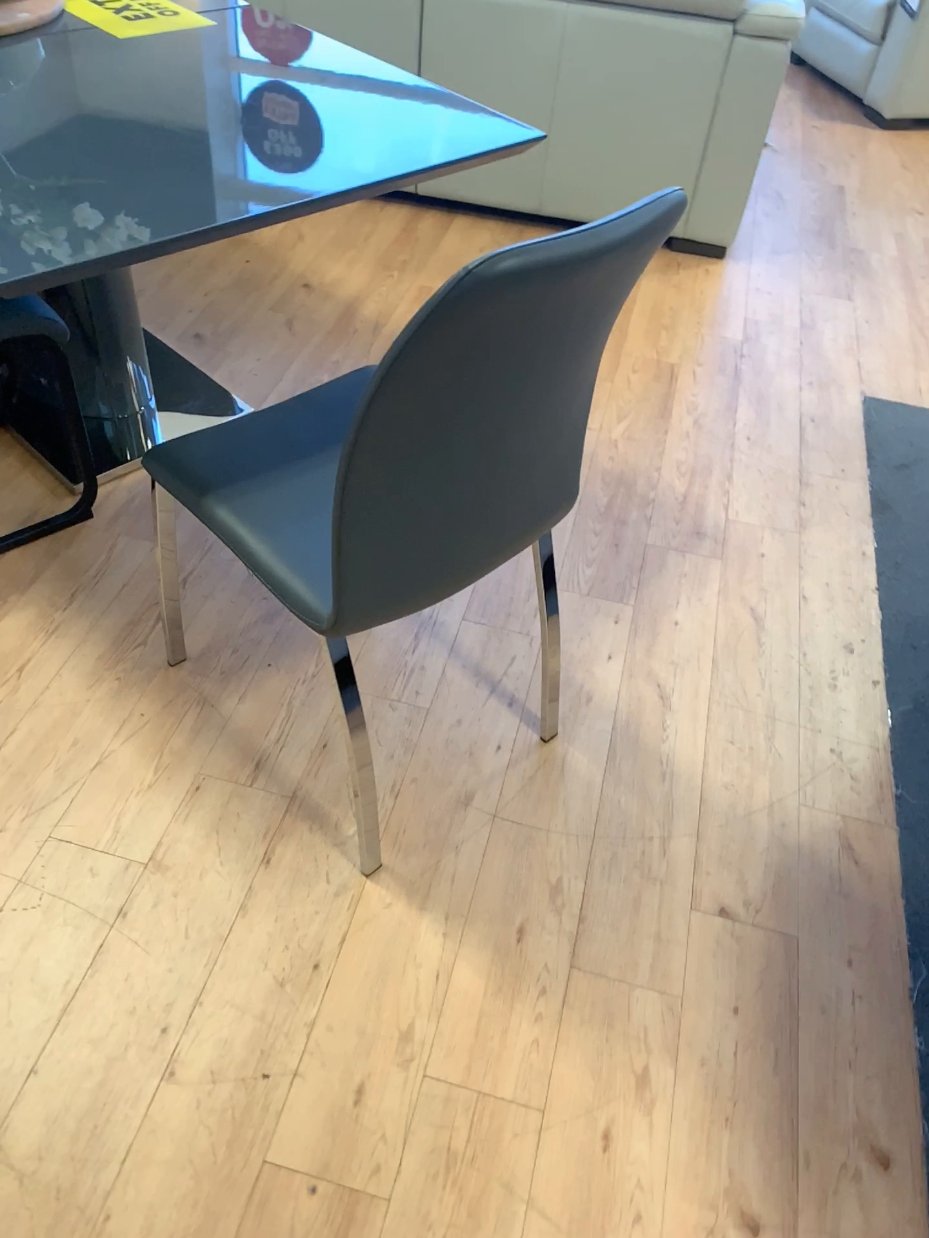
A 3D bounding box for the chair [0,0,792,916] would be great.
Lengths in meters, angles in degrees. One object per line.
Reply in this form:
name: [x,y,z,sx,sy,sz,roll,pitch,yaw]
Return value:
chair: [-0.114,-0.201,1.265,0.512,0.911,0.633,-30,55,-30]
